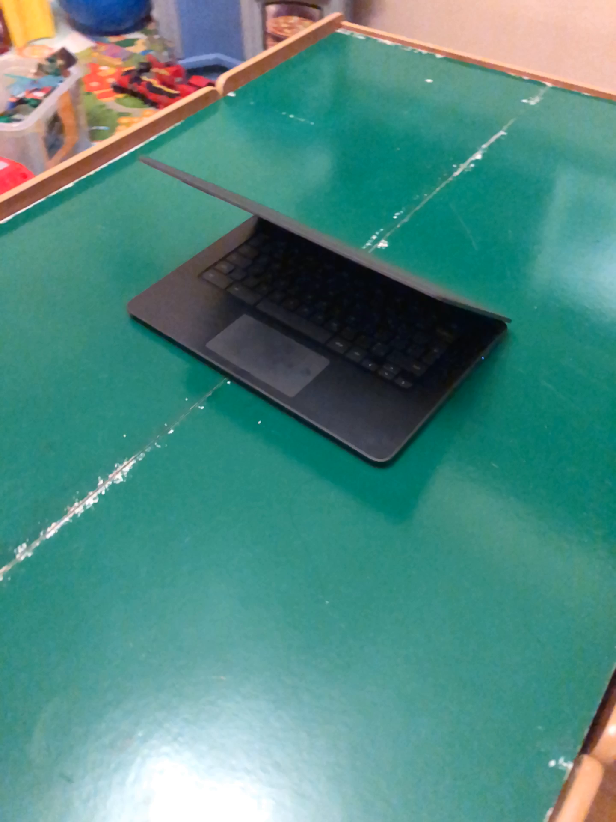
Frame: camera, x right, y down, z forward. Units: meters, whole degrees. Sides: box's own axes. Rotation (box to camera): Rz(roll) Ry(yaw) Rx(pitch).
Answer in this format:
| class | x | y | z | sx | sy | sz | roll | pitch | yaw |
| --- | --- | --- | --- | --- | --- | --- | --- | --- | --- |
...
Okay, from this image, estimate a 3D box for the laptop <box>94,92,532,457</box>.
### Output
| class | x | y | z | sx | sy | sz | roll | pitch | yaw |
| --- | --- | --- | --- | --- | --- | --- | --- | --- | --- |
| laptop | 0.001 | -0.145 | 0.634 | 0.317 | 0.144 | 0.208 | 31 | 57 | 25 |
